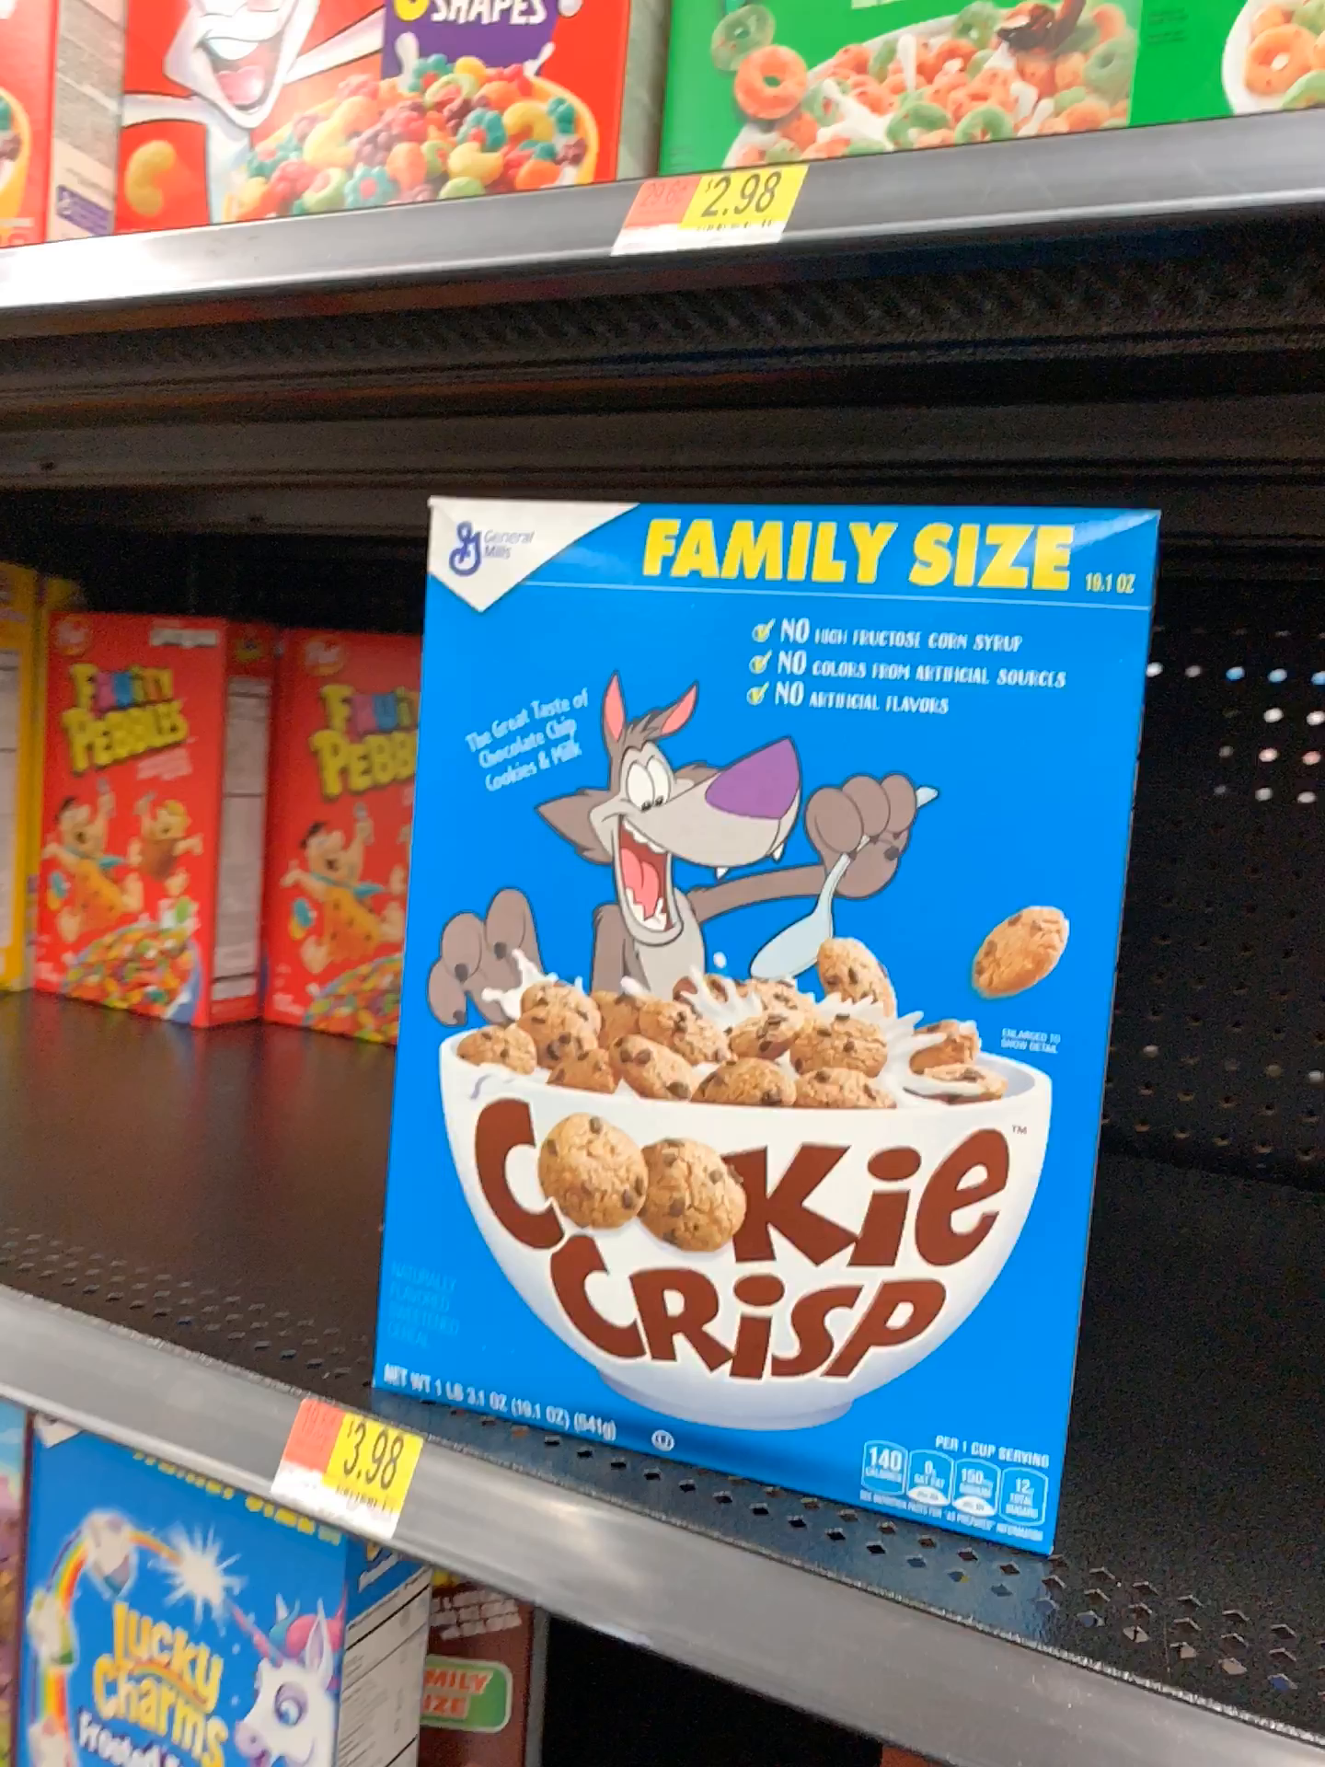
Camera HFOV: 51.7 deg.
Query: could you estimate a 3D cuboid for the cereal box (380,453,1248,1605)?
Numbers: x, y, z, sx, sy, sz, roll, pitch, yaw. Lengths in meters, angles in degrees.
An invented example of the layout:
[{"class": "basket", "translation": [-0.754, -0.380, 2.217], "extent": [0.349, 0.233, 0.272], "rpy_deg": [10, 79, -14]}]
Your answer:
[{"class": "cereal box", "translation": [0.043, 0.036, 0.470], "extent": [0.250, 0.340, 0.070], "rpy_deg": [6, 5, 16]}]
